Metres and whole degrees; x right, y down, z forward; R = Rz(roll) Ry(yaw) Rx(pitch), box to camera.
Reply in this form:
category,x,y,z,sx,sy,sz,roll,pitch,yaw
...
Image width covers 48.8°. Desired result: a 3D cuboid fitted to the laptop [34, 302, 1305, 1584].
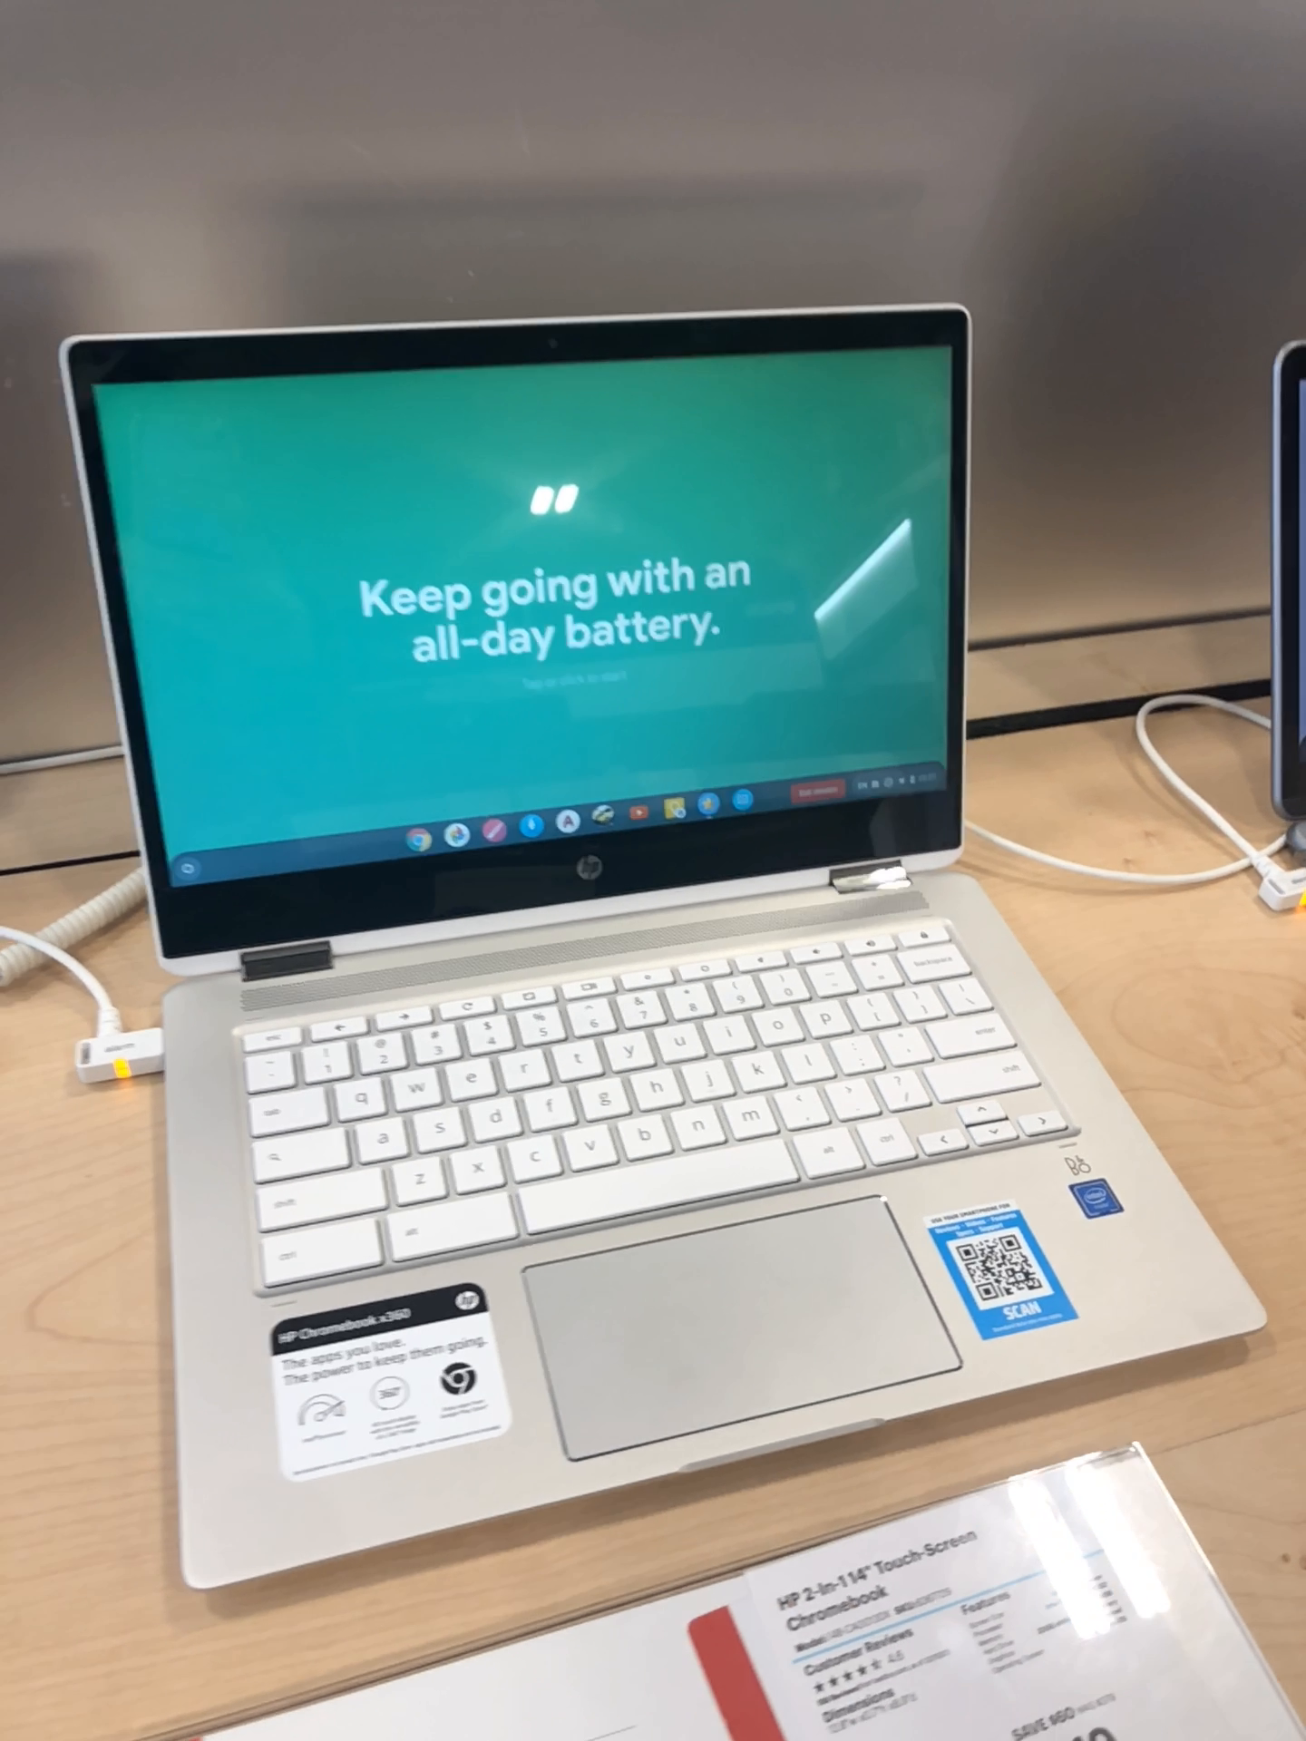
category,x,y,z,sx,sy,sz,roll,pitch,yaw
laptop,-0.003,-0.017,0.468,0.323,0.205,0.319,-8,43,-16
